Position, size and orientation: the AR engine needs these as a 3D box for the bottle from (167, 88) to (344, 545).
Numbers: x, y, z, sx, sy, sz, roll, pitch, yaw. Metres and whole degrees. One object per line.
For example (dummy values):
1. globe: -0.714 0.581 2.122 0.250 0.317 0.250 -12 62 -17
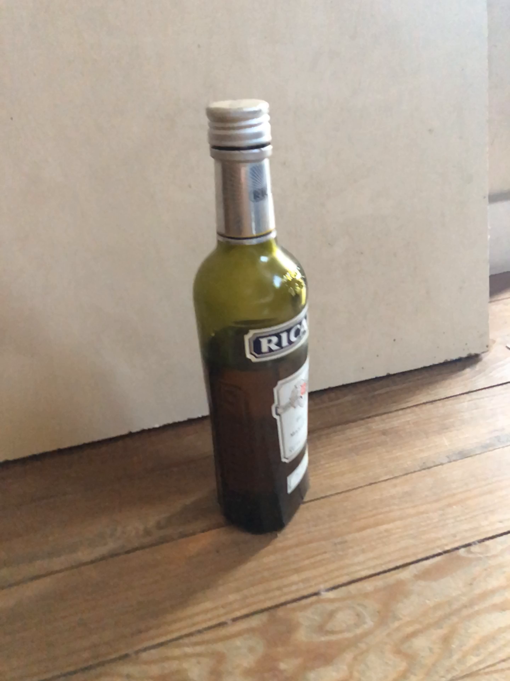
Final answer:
1. bottle: 0.007 -0.003 0.334 0.060 0.258 0.070 12 33 23
